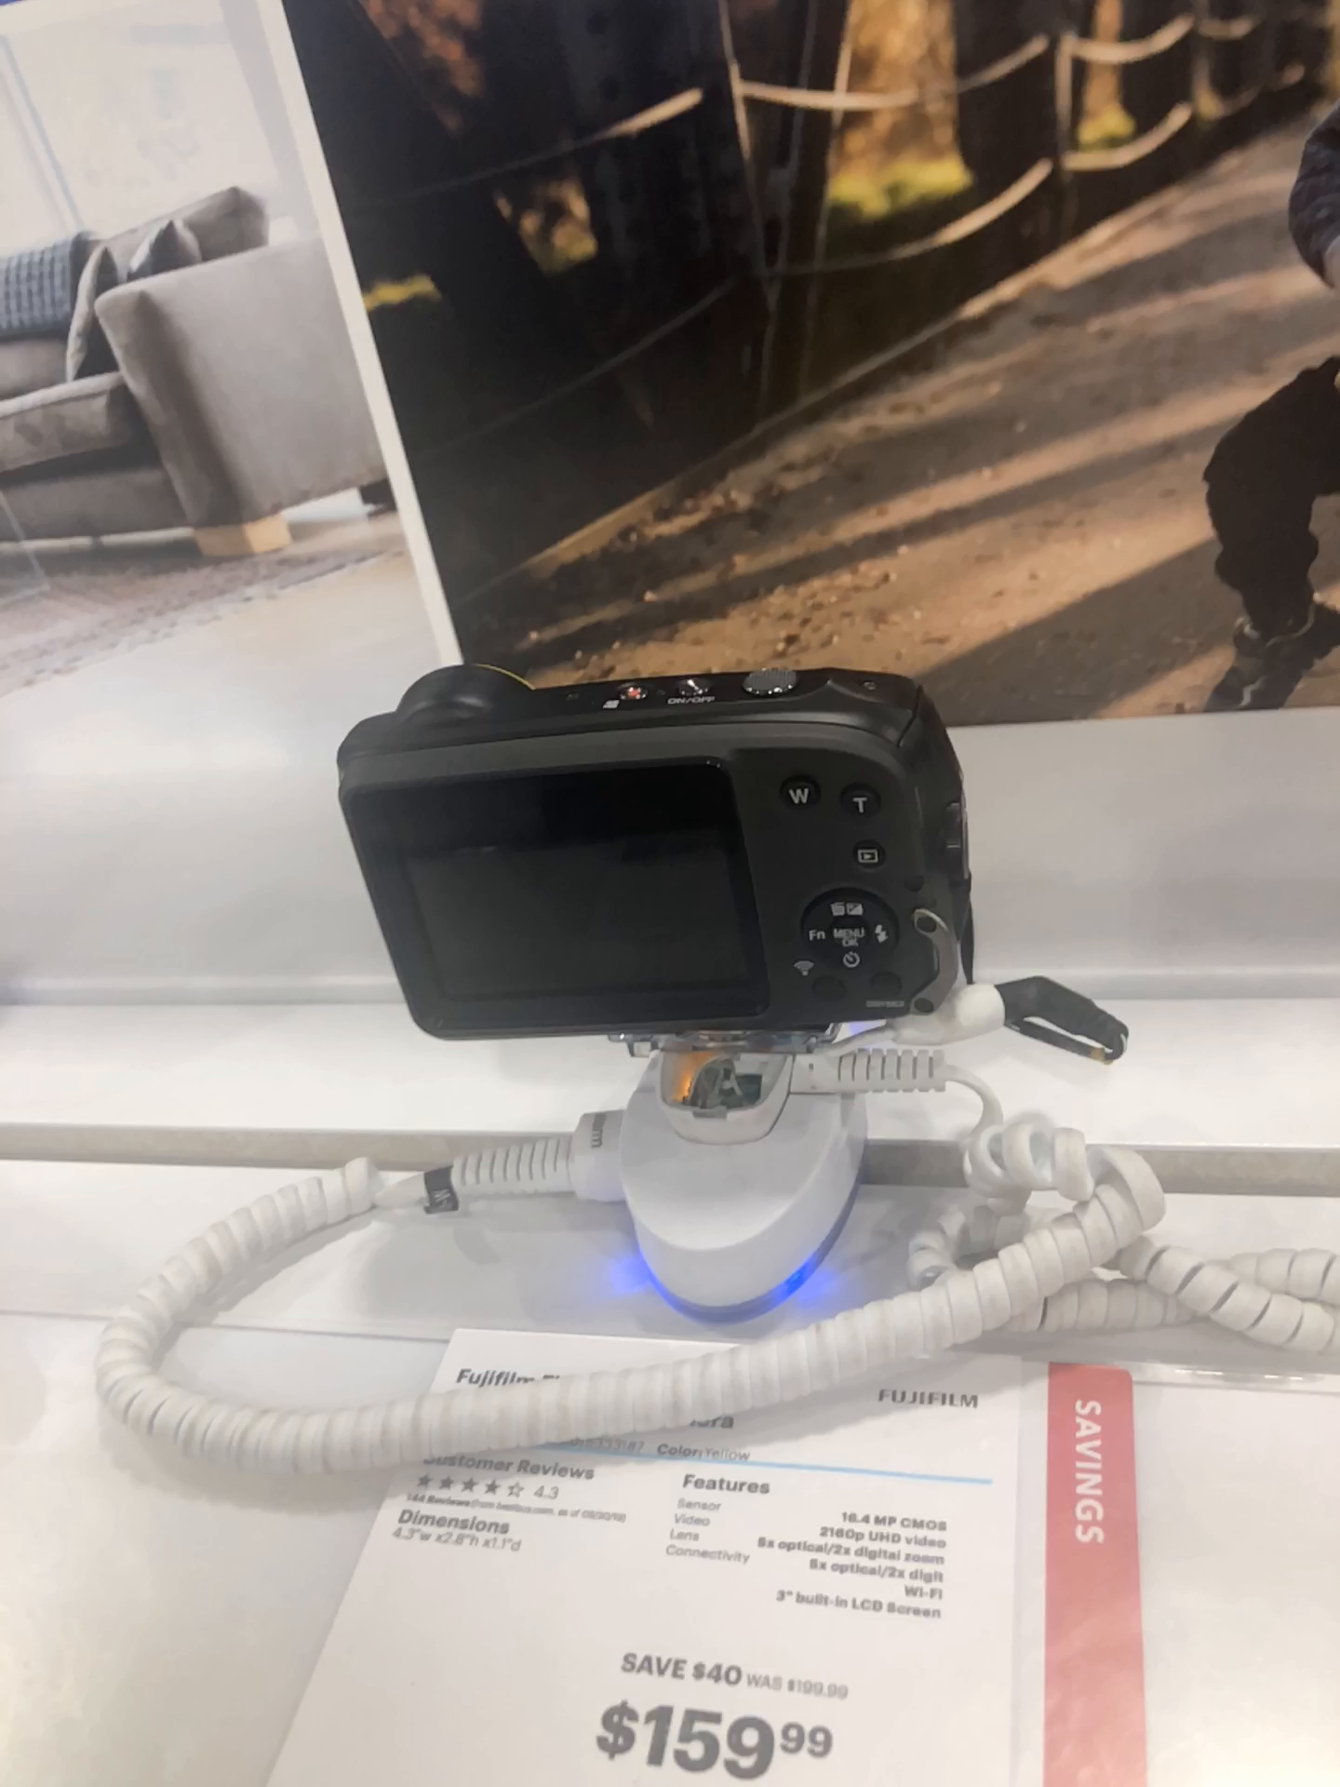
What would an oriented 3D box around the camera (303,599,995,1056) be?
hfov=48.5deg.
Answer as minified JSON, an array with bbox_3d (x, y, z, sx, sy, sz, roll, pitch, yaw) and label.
[{"bbox_3d":[0.000,-0.009,0.269,0.110,0.070,0.030,-3,33,13],"label":"camera"}]
